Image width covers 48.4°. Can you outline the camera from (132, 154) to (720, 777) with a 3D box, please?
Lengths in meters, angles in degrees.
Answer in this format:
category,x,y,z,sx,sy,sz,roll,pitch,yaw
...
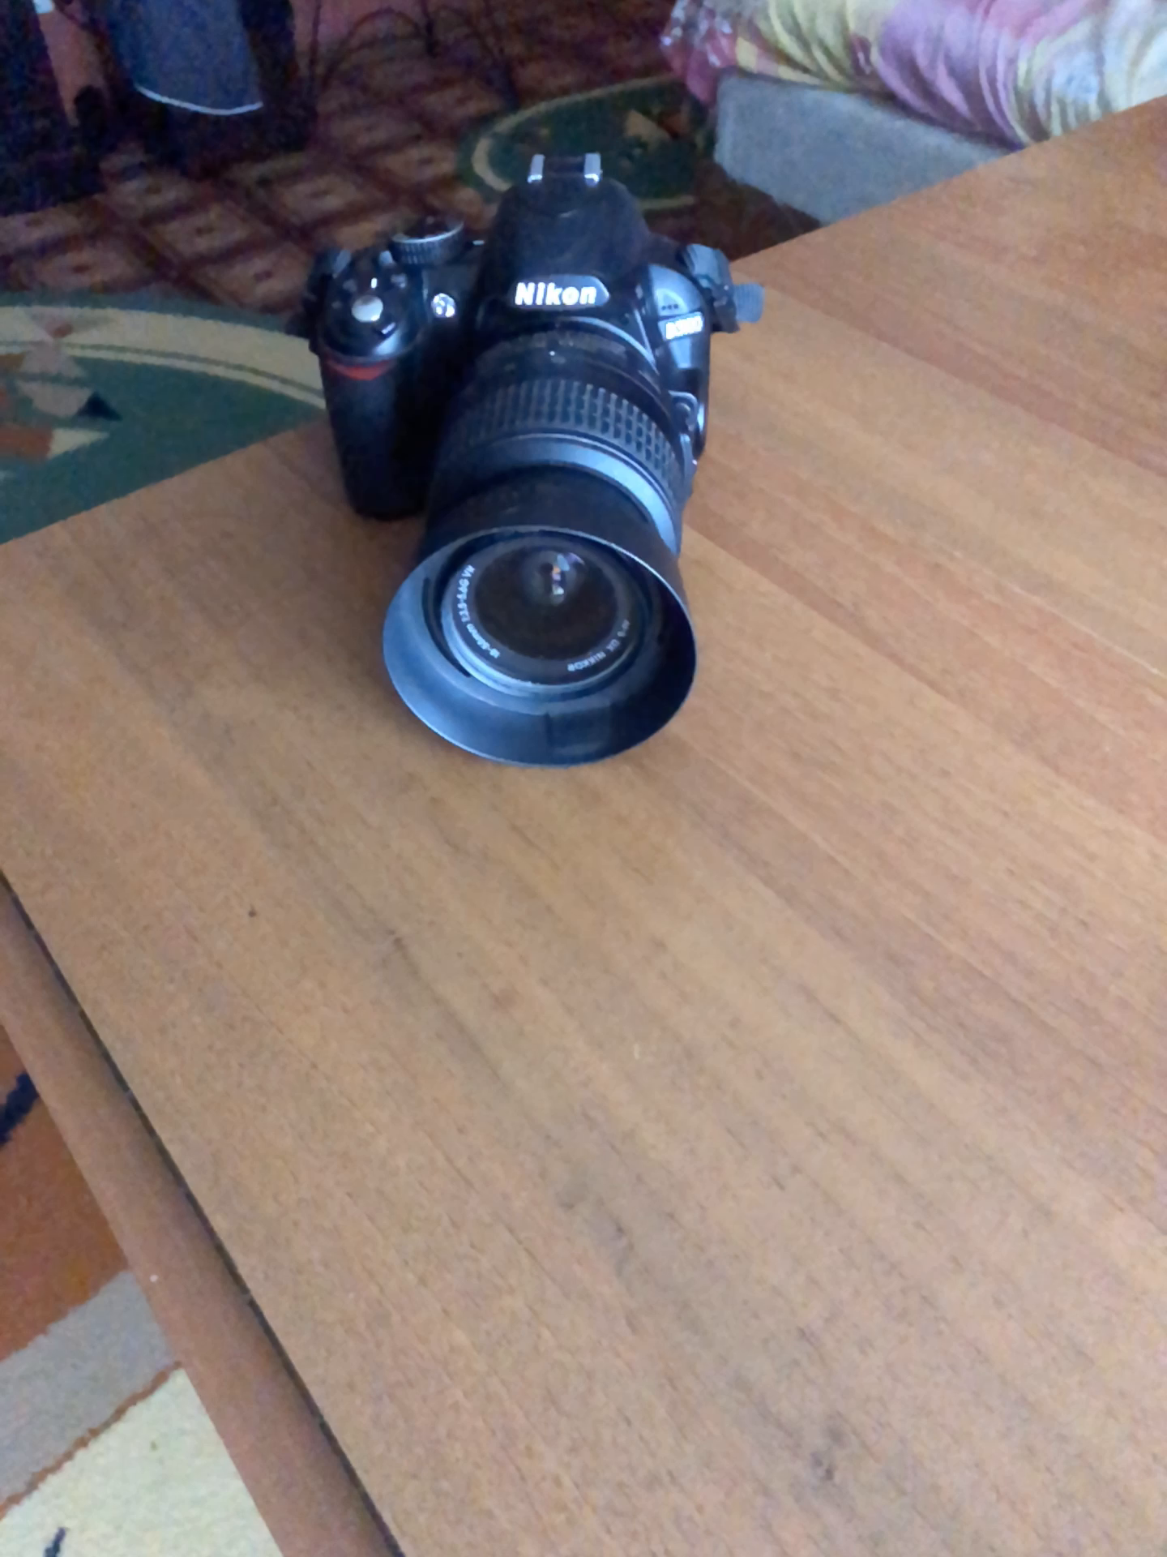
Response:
category,x,y,z,sx,sy,sz,roll,pitch,yaw
camera,-0.028,-0.101,0.381,0.129,0.092,0.184,2,45,4
